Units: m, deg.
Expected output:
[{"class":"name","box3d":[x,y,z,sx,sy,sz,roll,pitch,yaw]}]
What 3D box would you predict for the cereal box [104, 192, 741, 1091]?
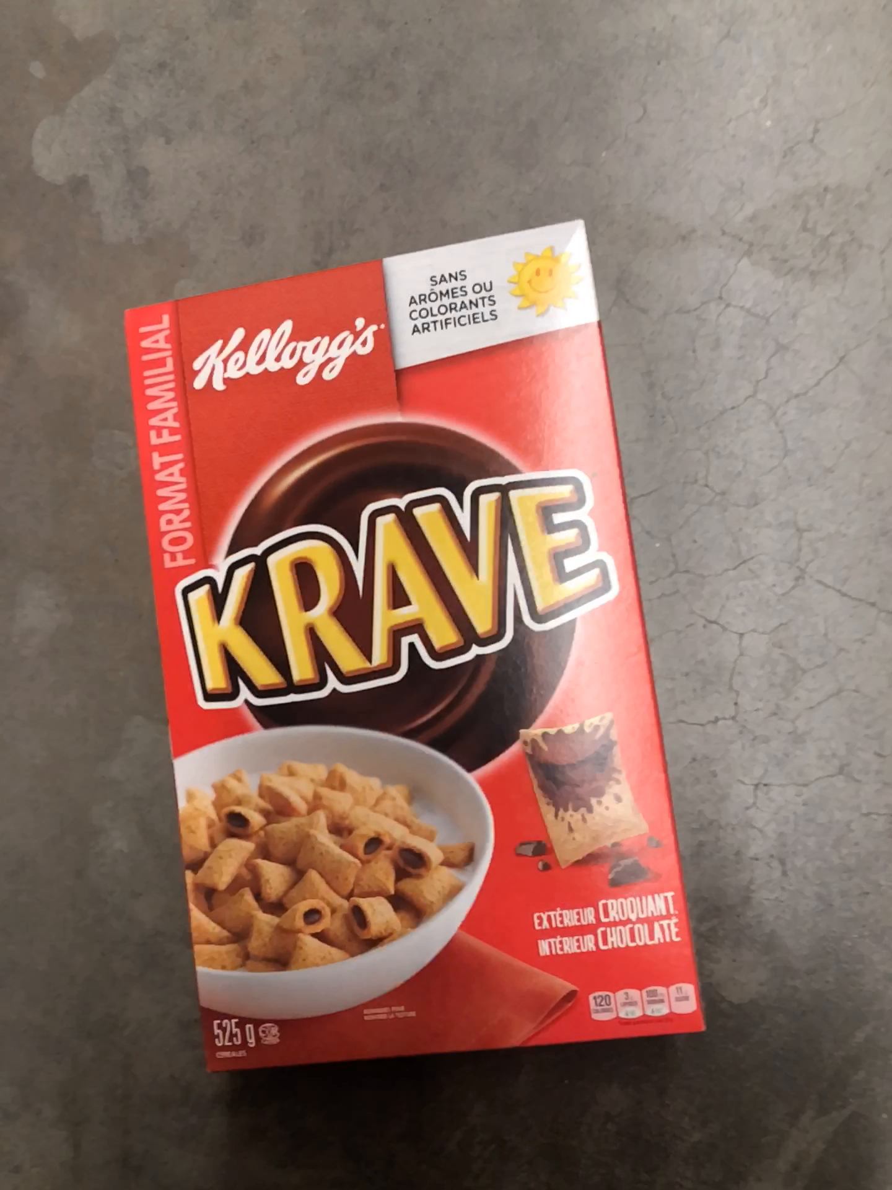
[{"class":"cereal box","box3d":[-0.011,0.021,0.401,0.200,0.070,0.310,-9,86,9]}]
